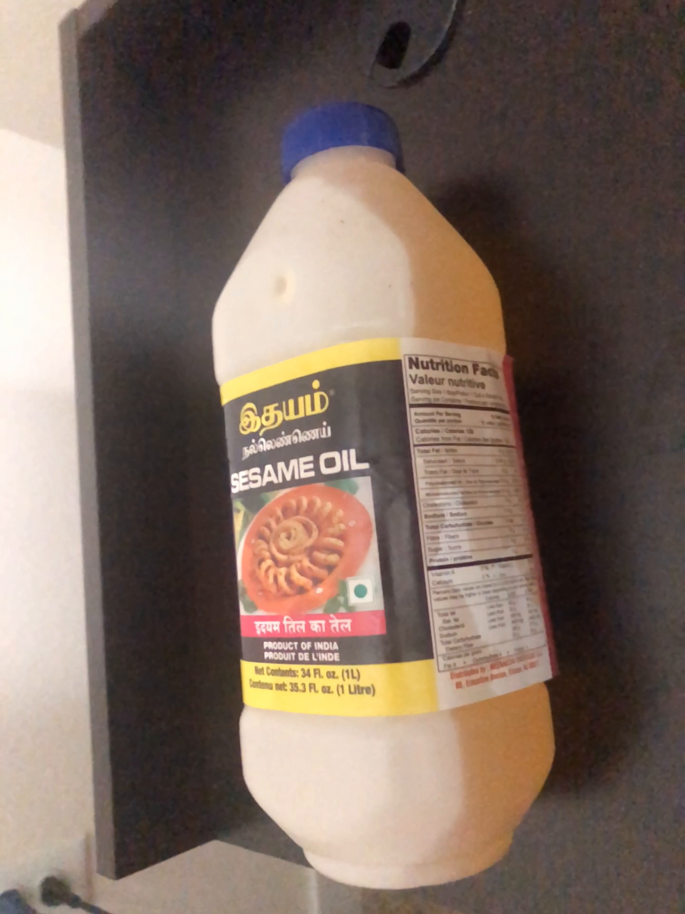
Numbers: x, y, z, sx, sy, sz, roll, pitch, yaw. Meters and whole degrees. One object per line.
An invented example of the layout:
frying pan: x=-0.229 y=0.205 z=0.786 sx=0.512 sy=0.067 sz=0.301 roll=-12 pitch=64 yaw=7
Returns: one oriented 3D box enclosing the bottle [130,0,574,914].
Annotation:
bottle: x=-0.001 y=0.000 z=0.252 sx=0.090 sy=0.090 sz=0.250 roll=-11 pitch=80 yaw=42
